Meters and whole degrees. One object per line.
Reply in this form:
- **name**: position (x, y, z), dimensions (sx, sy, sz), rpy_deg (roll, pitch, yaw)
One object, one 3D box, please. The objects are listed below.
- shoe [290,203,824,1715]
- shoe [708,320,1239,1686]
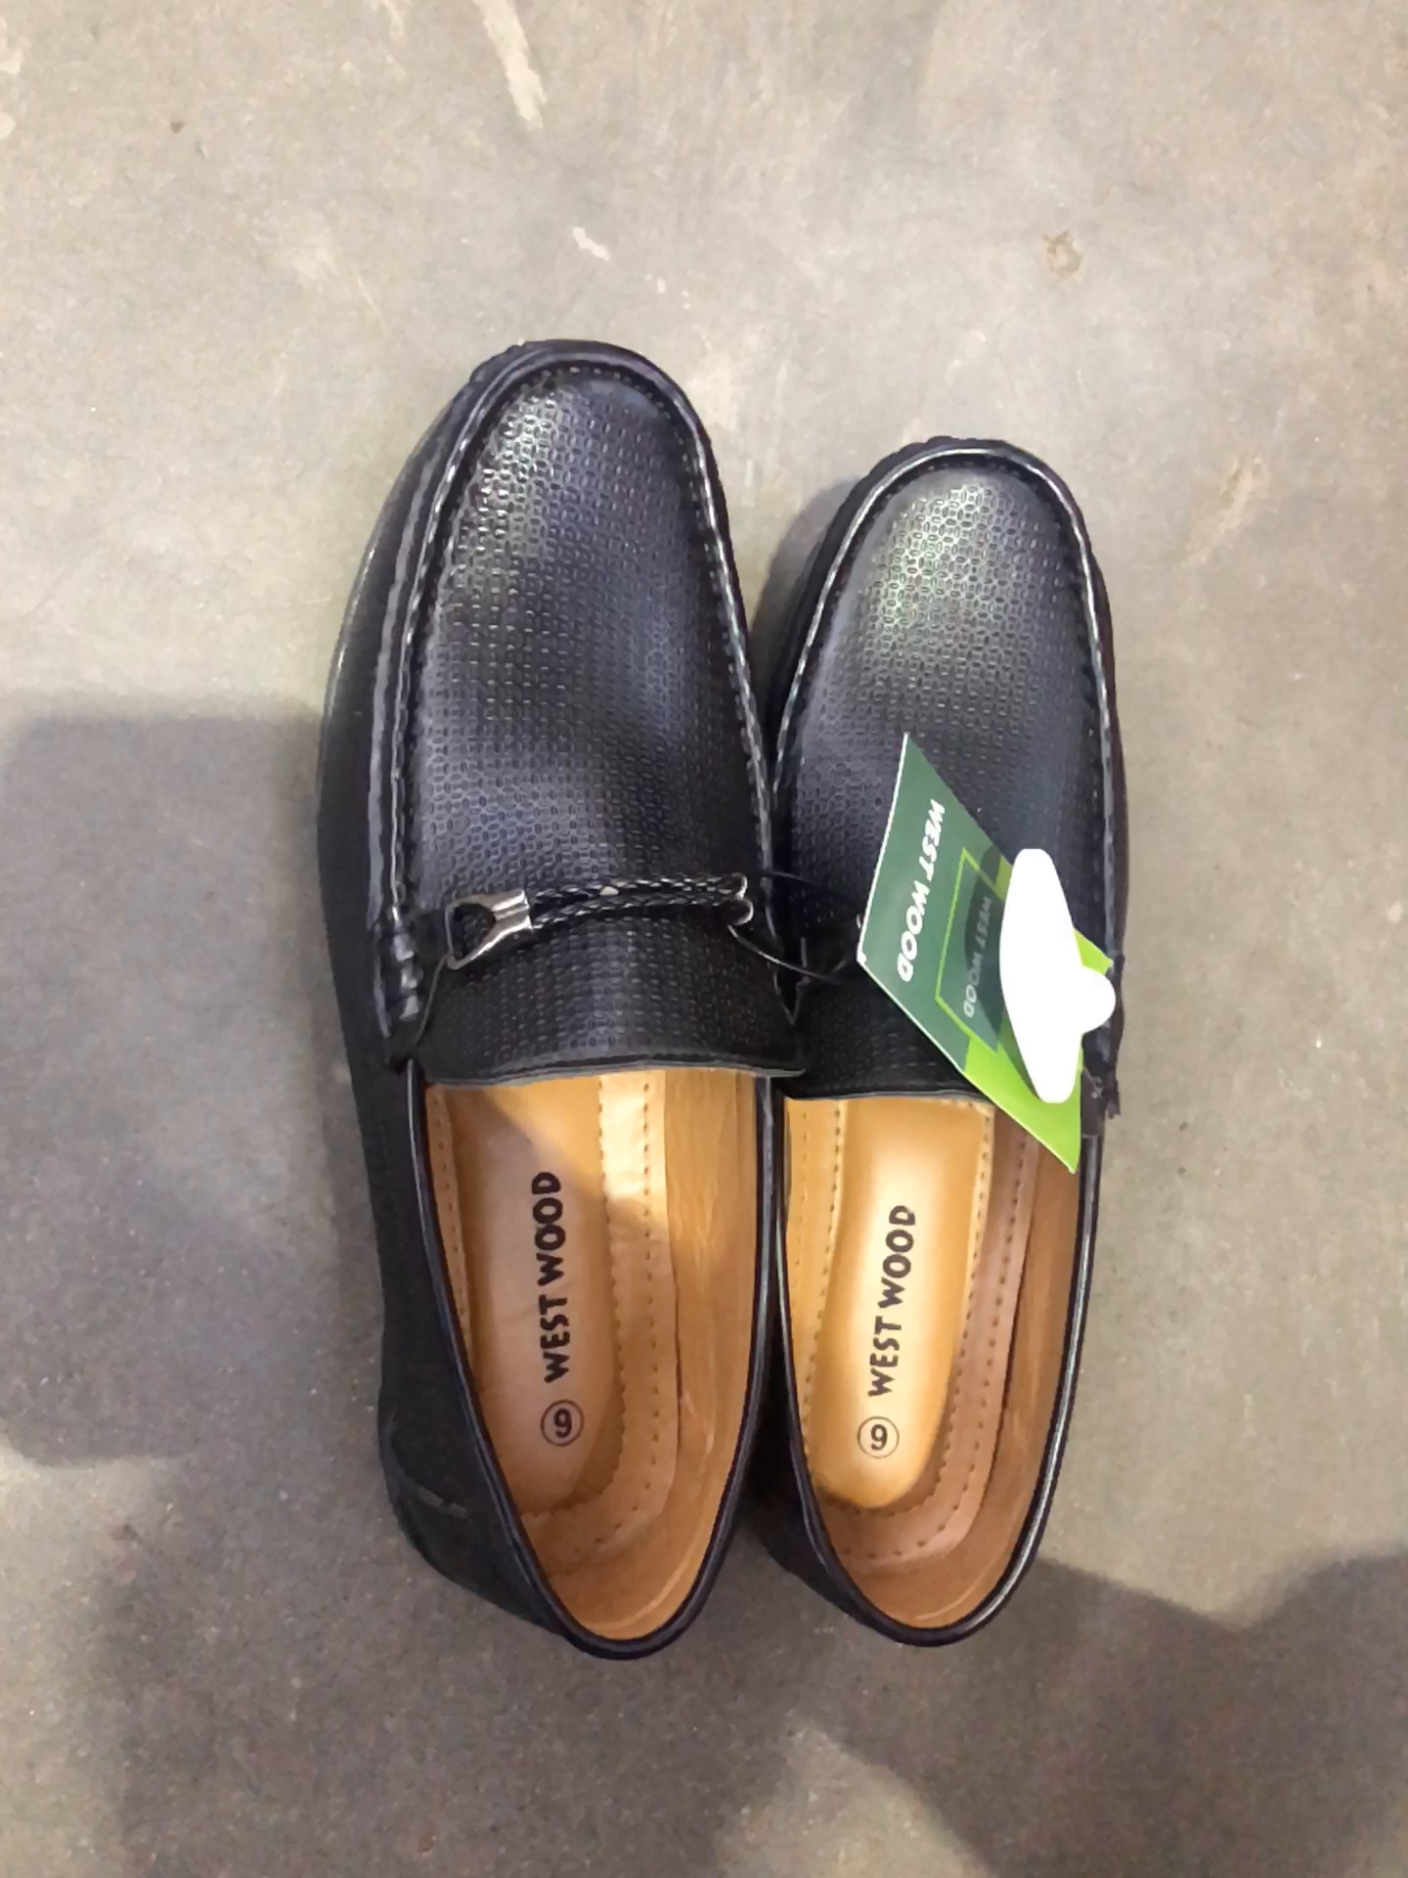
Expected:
- **shoe**: position (-0.035, 0.004, 0.339), dimensions (0.100, 0.070, 0.280), rpy_deg (0, 91, -21)
- **shoe**: position (0.058, 0.015, 0.361), dimensions (0.090, 0.070, 0.280), rpy_deg (3, 90, -9)
